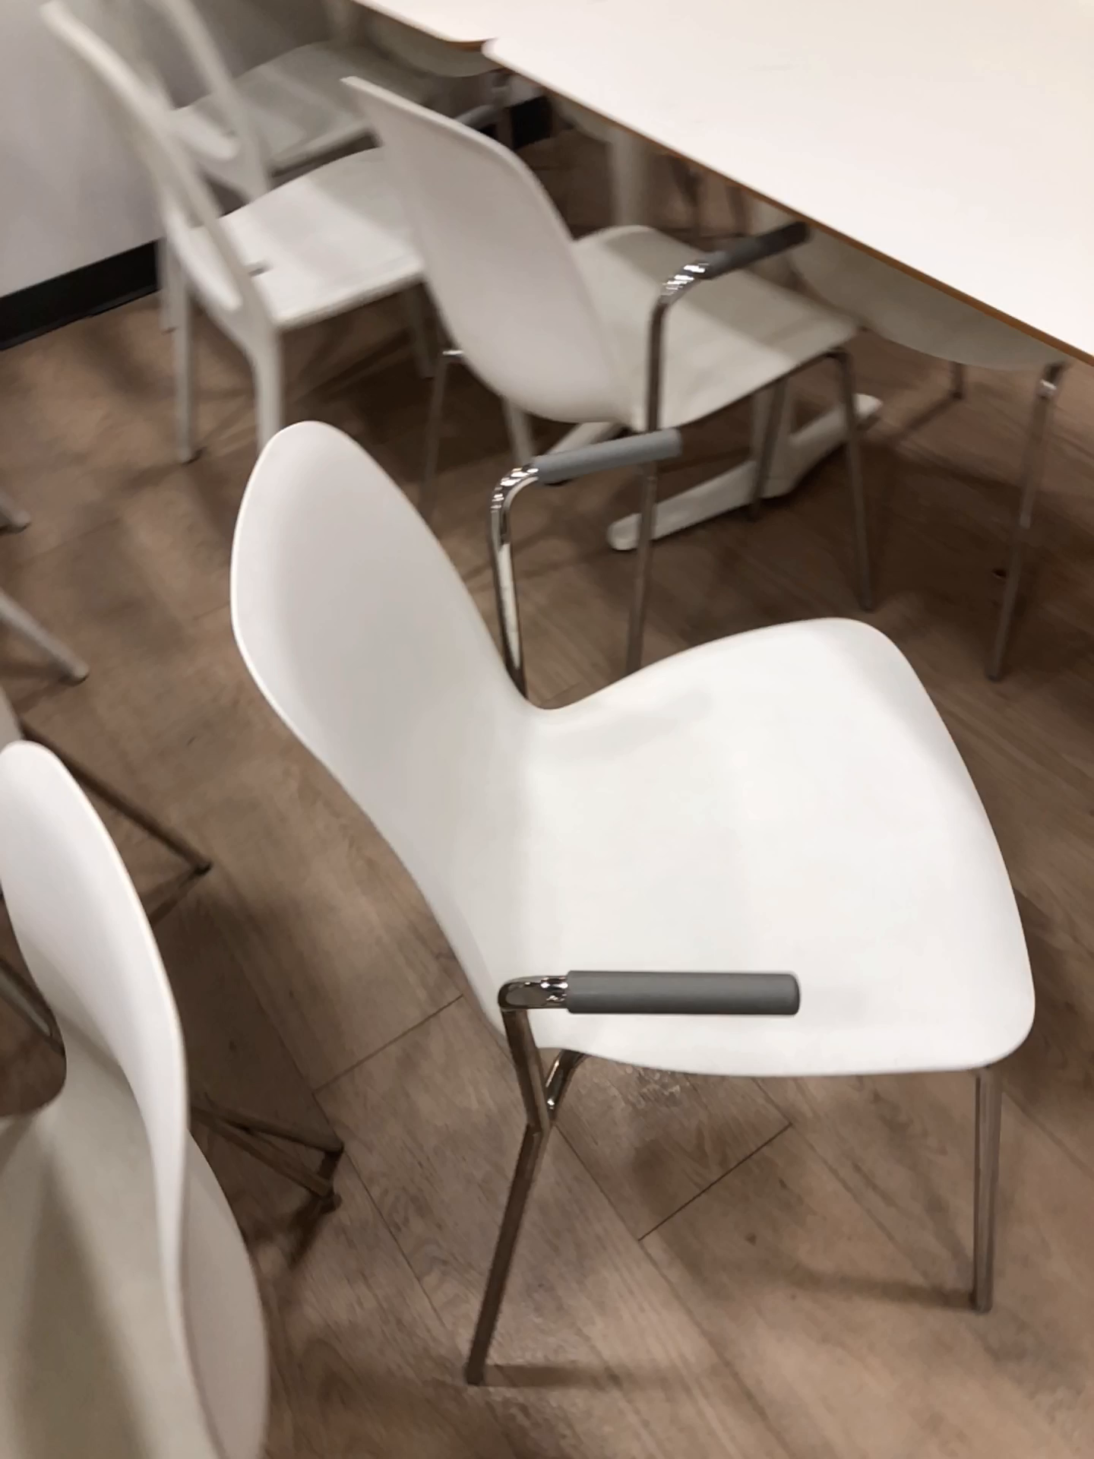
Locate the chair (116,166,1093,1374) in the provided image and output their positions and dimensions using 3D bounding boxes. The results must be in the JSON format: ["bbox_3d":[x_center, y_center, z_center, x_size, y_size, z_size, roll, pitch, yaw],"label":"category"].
[{"bbox_3d":[0.109,0.091,1.002,0.530,0.805,0.574,-6,47,4],"label":"chair"}]
